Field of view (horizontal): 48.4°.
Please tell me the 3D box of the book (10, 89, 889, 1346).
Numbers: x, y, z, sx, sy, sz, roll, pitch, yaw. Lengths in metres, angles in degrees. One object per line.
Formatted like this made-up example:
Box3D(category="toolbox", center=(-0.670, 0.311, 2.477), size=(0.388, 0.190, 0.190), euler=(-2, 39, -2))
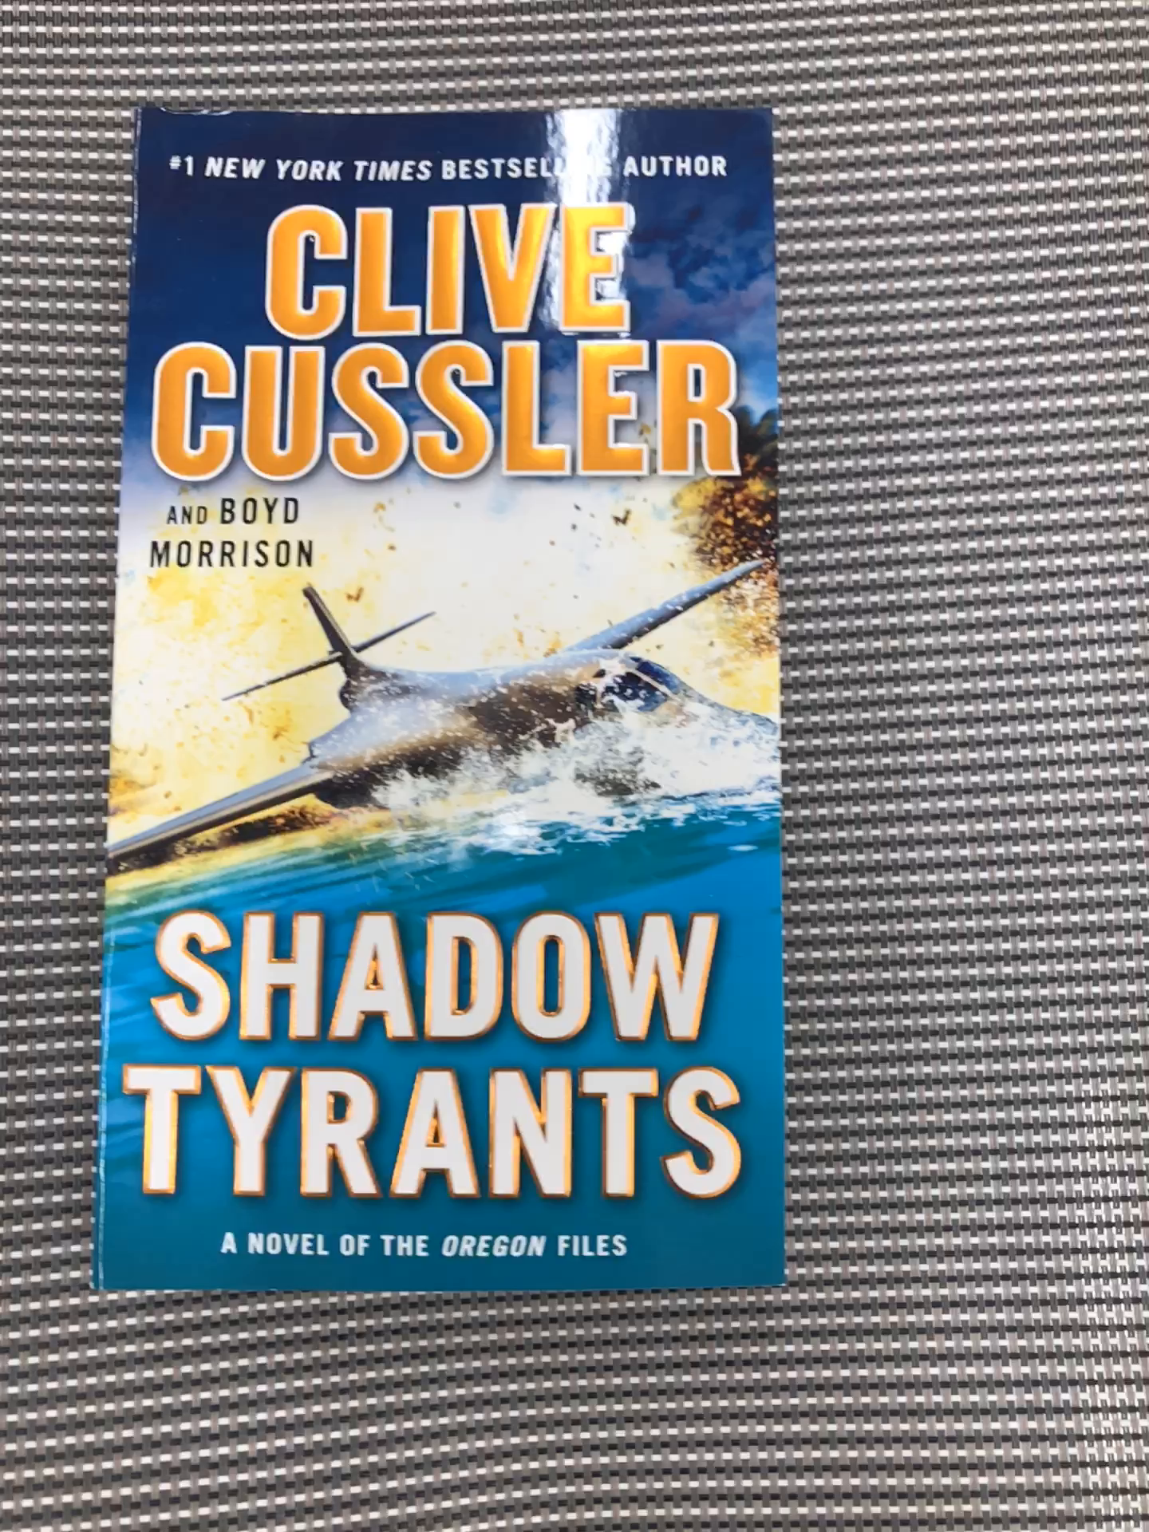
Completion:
Box3D(category="book", center=(-0.016, -0.008, 0.214), size=(0.120, 0.060, 0.180), euler=(1, 84, -2))
